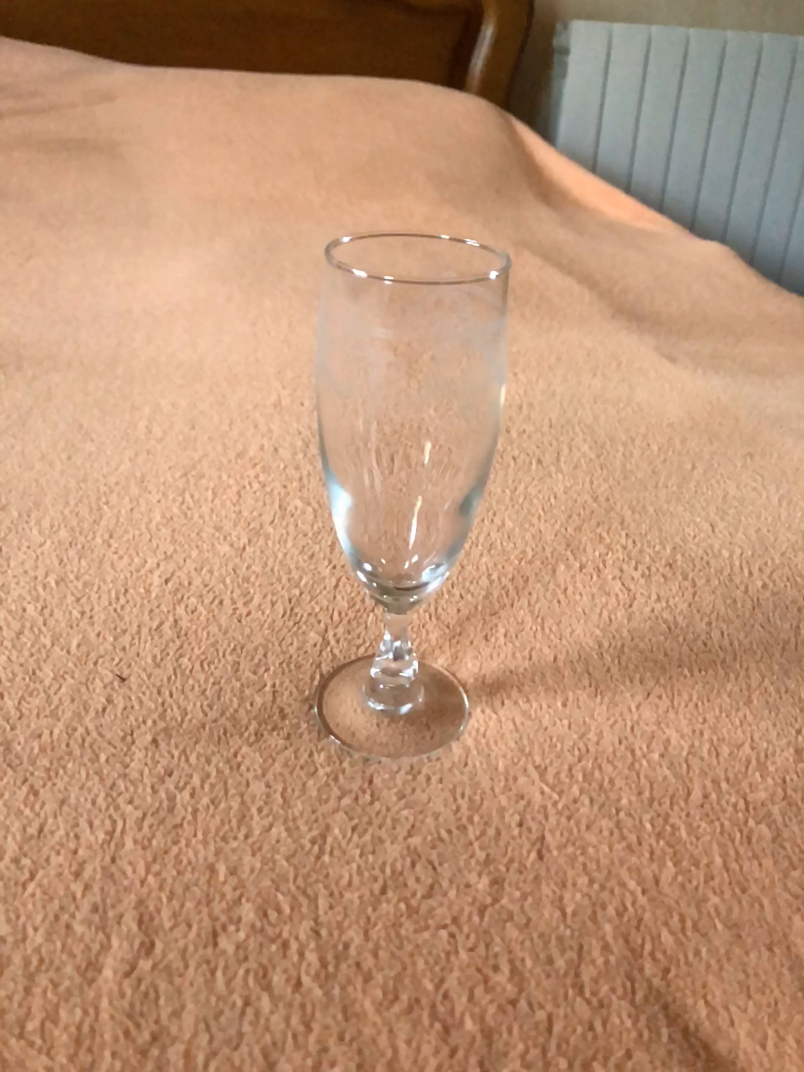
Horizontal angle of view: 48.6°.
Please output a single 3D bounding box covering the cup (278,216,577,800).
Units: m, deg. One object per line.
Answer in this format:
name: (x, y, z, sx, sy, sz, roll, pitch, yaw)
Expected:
cup: (0.005, -0.008, 0.275, 0.060, 0.159, 0.060, 3, 28, -1)
